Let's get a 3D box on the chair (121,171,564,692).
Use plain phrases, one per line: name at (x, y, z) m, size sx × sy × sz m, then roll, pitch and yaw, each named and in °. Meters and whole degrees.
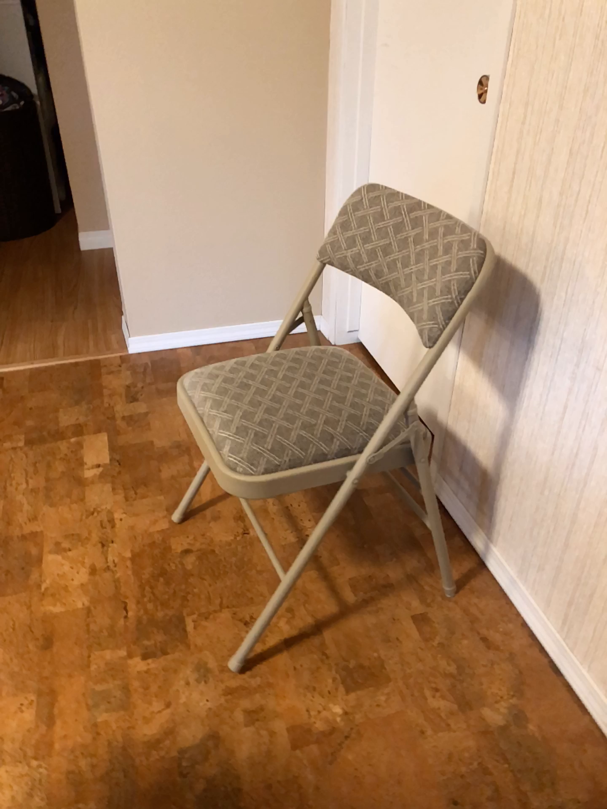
chair at (0.029, 0.024, 1.287) m, size 0.560 × 0.757 × 0.492 m, roll -13°, pitch 36°, yaw -20°
